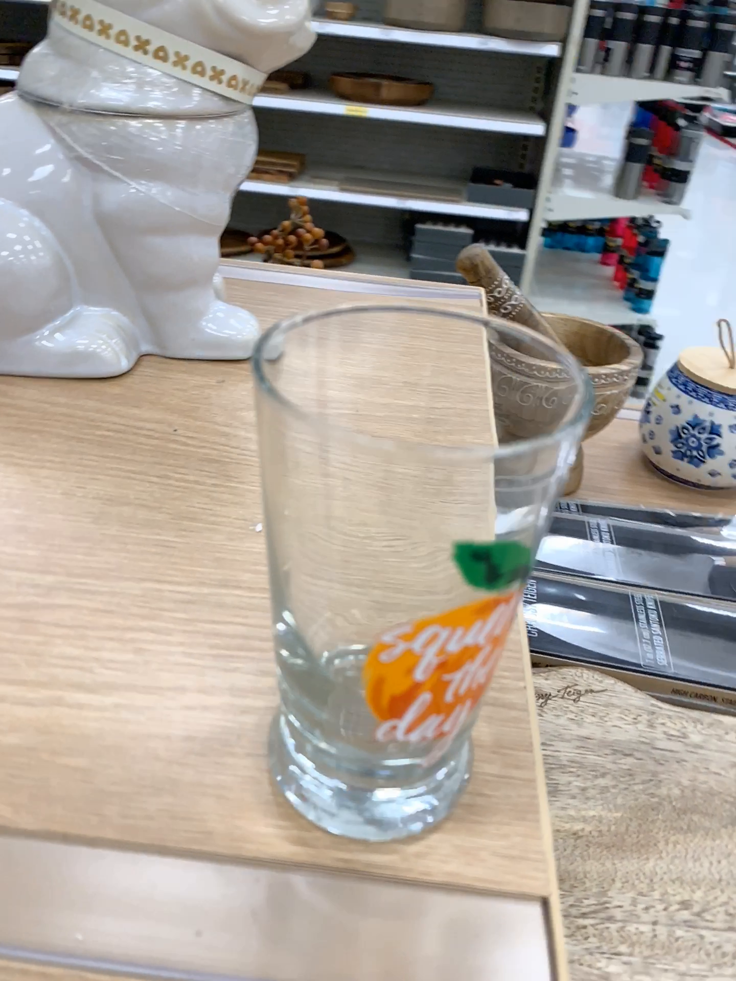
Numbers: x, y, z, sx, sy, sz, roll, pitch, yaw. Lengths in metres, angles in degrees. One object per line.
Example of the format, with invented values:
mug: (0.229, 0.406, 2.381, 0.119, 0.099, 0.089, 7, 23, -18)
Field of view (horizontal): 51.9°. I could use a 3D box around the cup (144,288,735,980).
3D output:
cup: (0.007, 0.030, 0.174, 0.080, 0.119, 0.080, 4, 34, -3)
